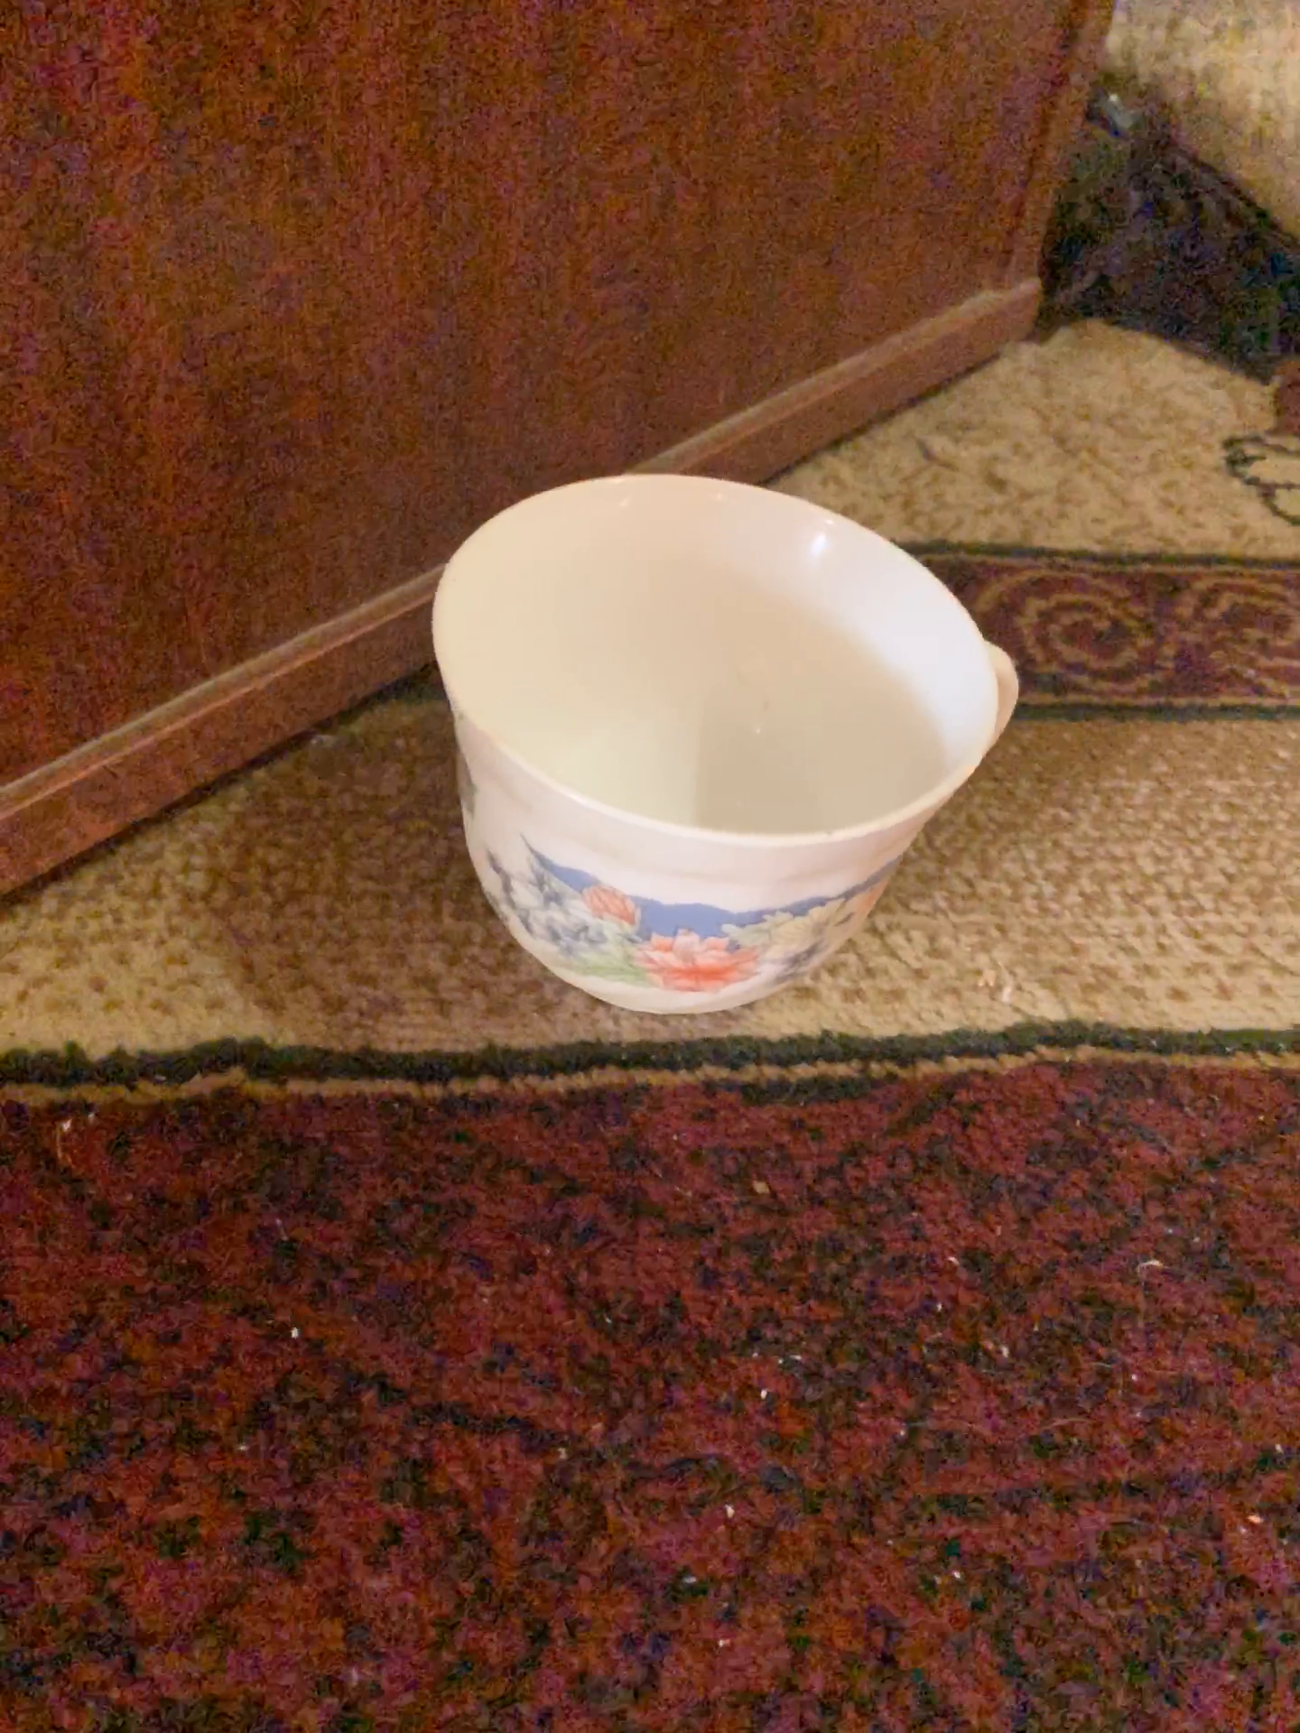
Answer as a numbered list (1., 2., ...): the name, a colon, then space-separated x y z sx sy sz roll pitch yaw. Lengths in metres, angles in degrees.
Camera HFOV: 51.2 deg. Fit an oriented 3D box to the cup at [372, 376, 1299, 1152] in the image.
1. cup: 0.025 -0.023 0.210 0.110 0.053 0.083 -19 52 -24
